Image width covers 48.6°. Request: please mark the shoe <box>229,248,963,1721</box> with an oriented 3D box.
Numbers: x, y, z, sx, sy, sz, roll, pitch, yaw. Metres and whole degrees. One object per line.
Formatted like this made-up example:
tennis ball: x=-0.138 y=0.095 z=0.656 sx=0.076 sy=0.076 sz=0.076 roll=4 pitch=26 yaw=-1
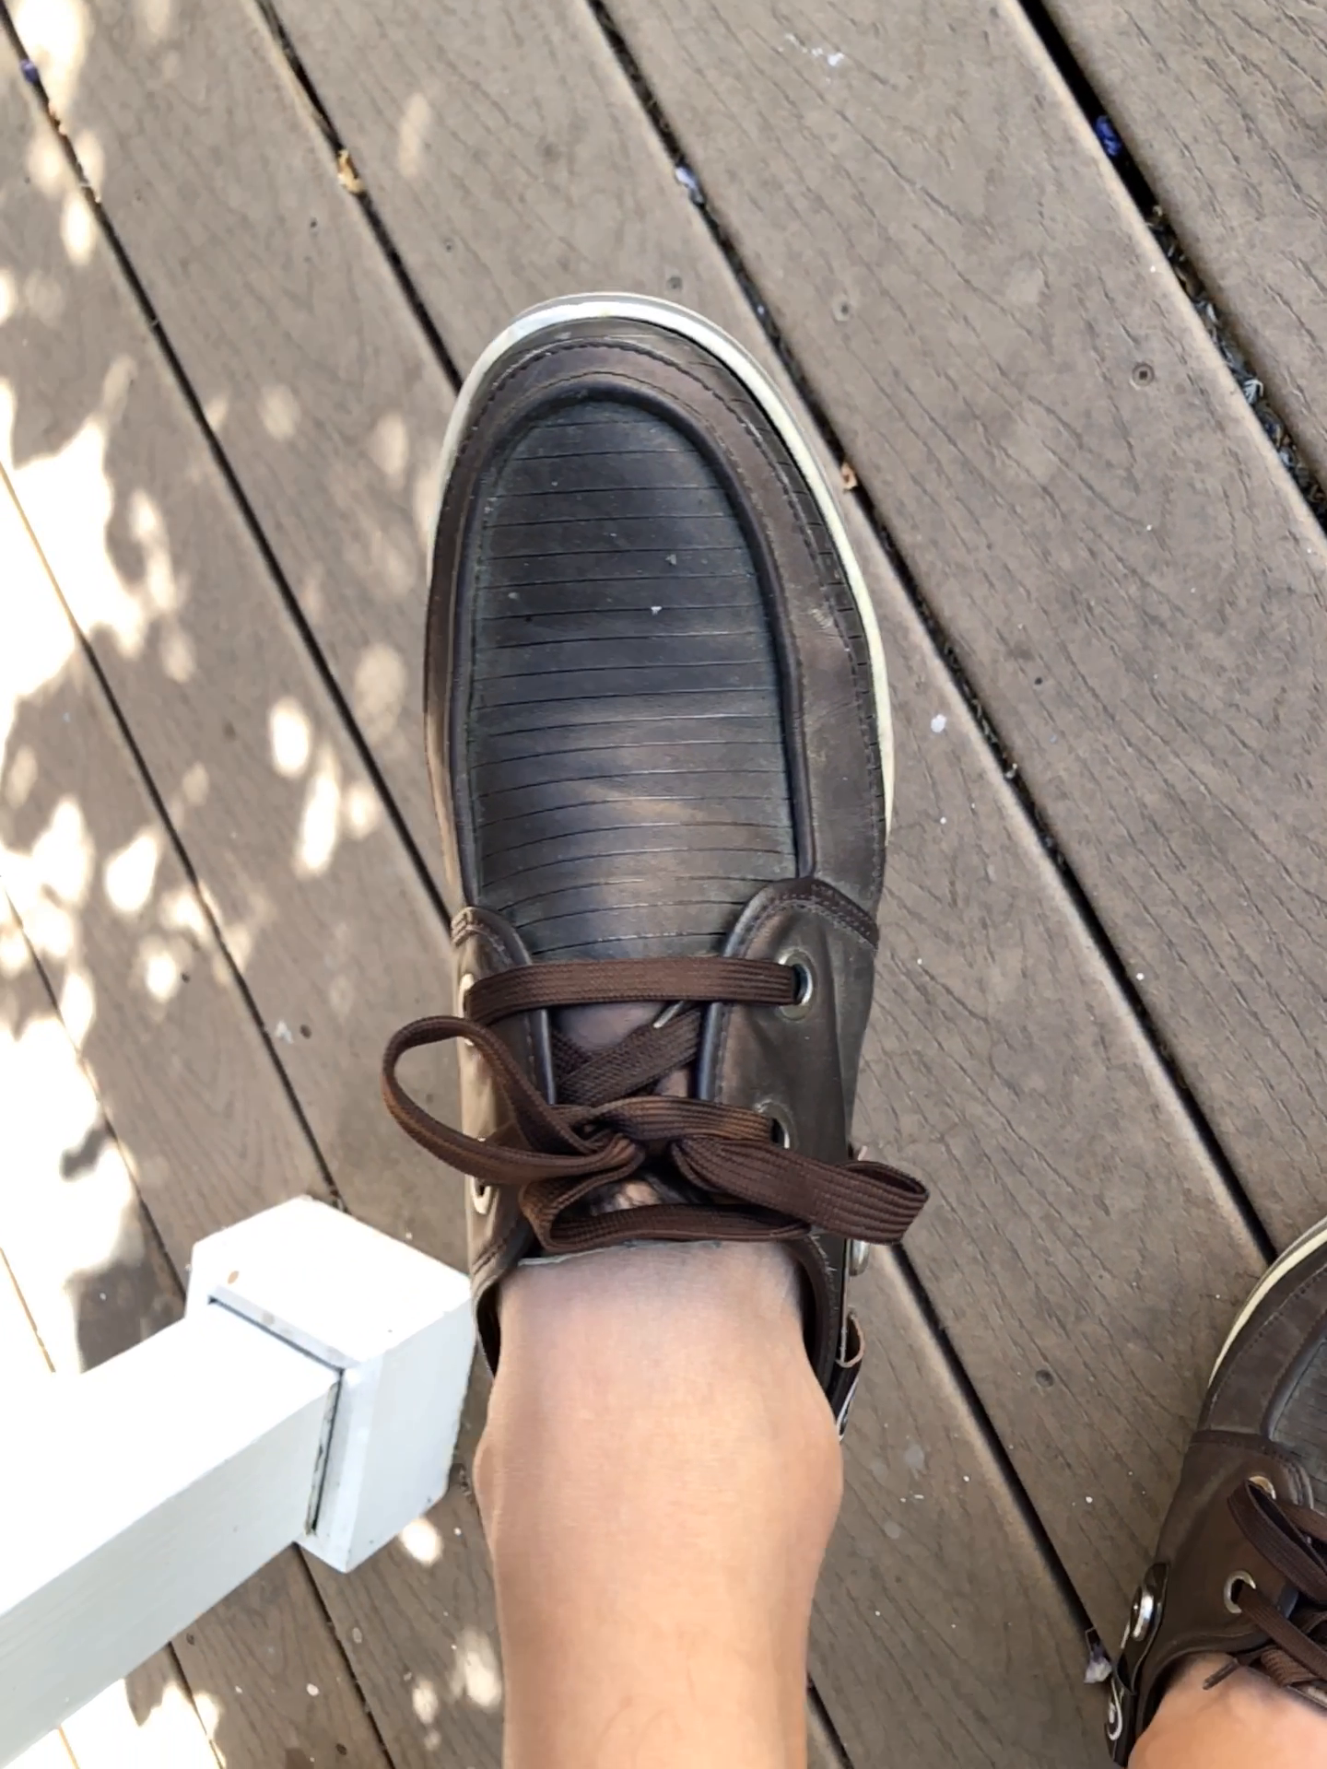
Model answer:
shoe: x=0.003 y=0.026 z=0.329 sx=0.119 sy=0.104 sz=0.295 roll=-1 pitch=109 yaw=8
